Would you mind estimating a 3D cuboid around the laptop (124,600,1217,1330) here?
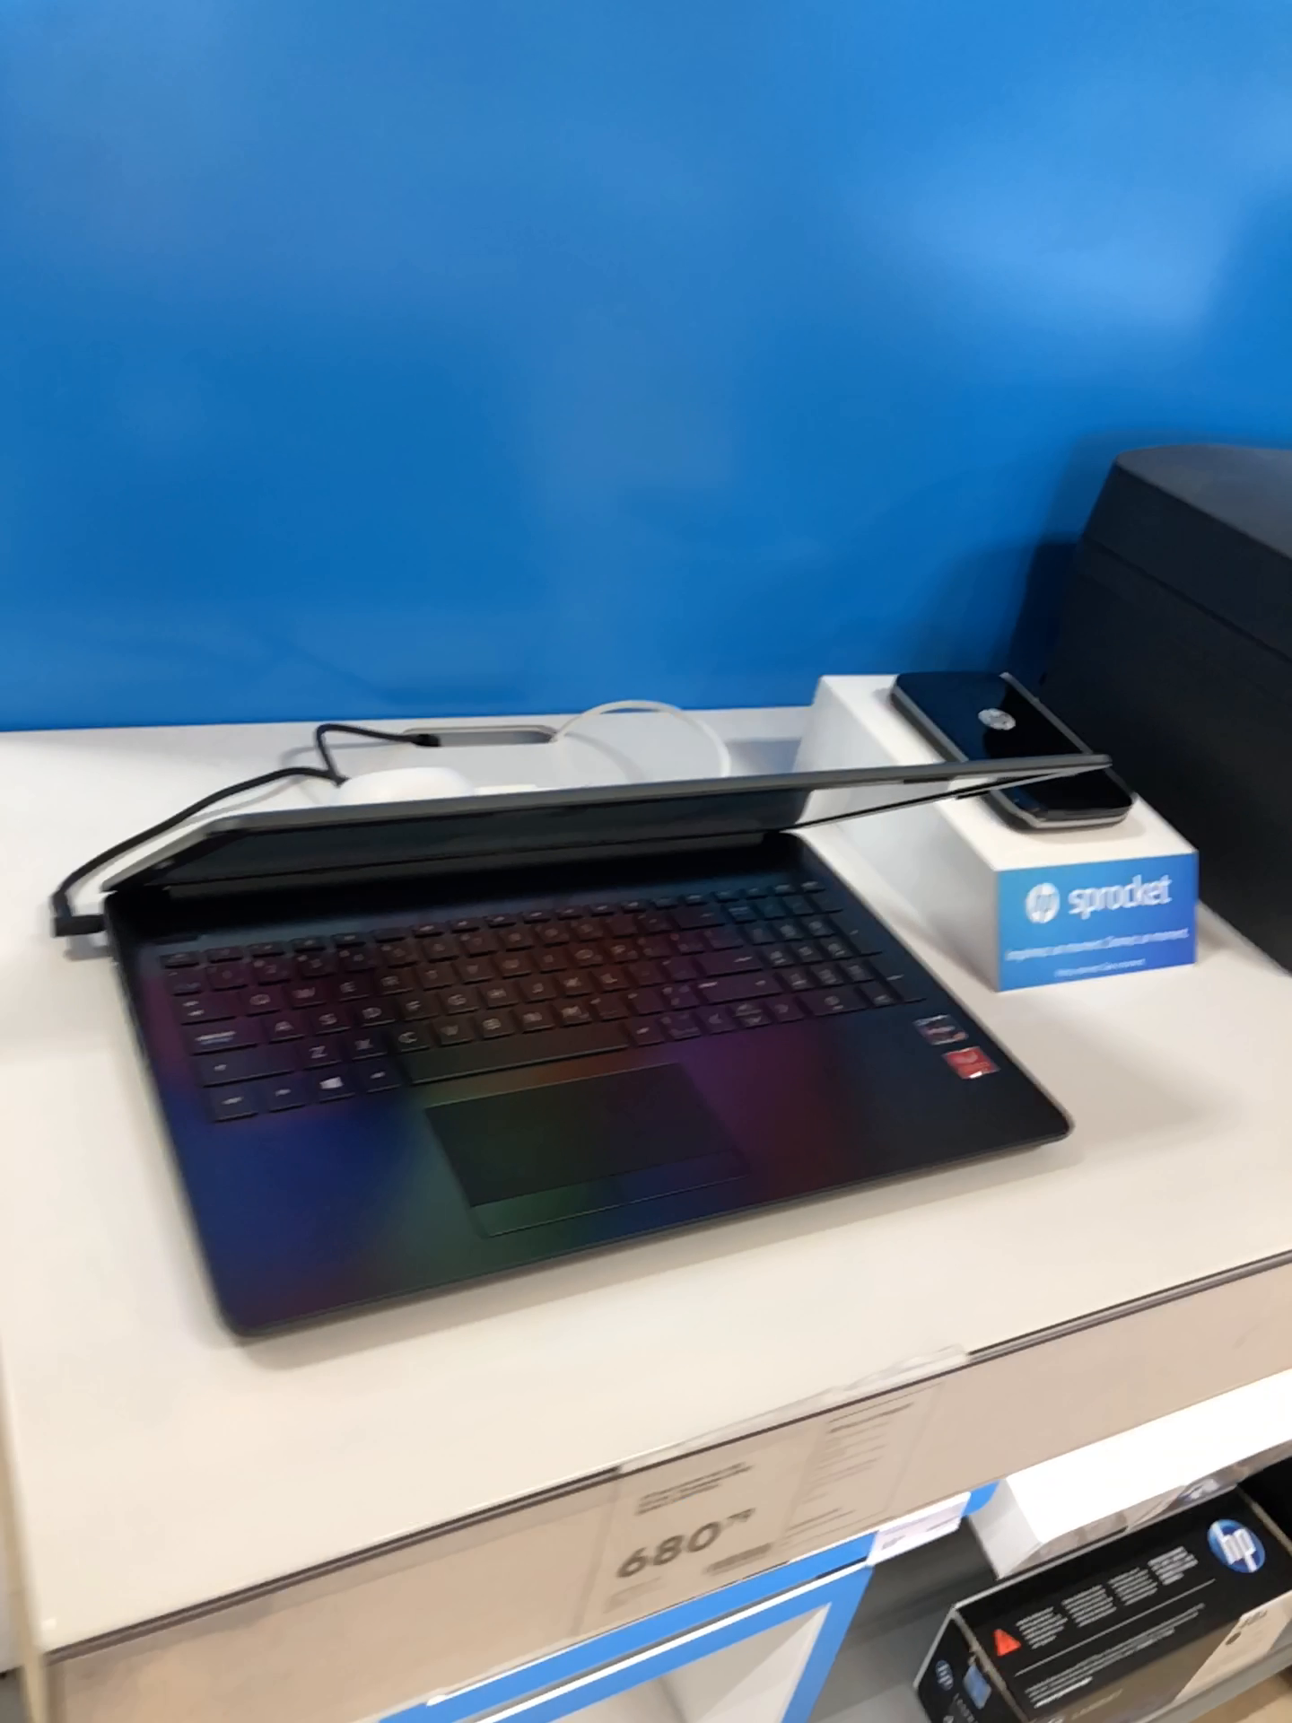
[{"bbox_3d":[0.002,0.007,0.572,0.356,0.130,0.243,-5,34,-32],"label":"laptop"}]
